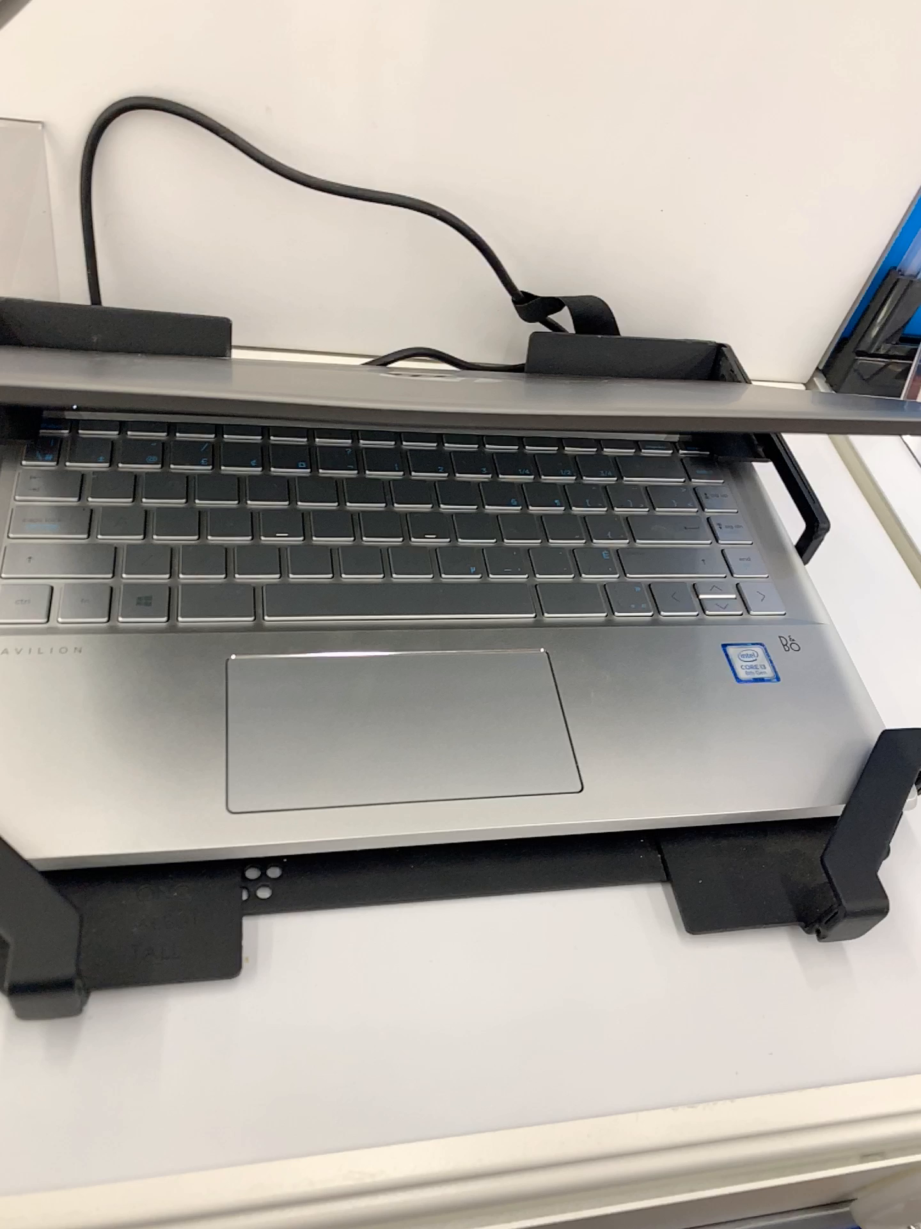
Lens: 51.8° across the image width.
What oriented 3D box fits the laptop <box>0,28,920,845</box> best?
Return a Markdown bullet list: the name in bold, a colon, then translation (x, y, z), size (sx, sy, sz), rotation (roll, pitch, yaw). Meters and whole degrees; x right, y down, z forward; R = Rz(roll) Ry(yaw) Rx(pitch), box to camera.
- **laptop**: translation (-0.005, -0.054, 0.279), size (0.283, 0.111, 0.194), rotation (0, 51, -12)
